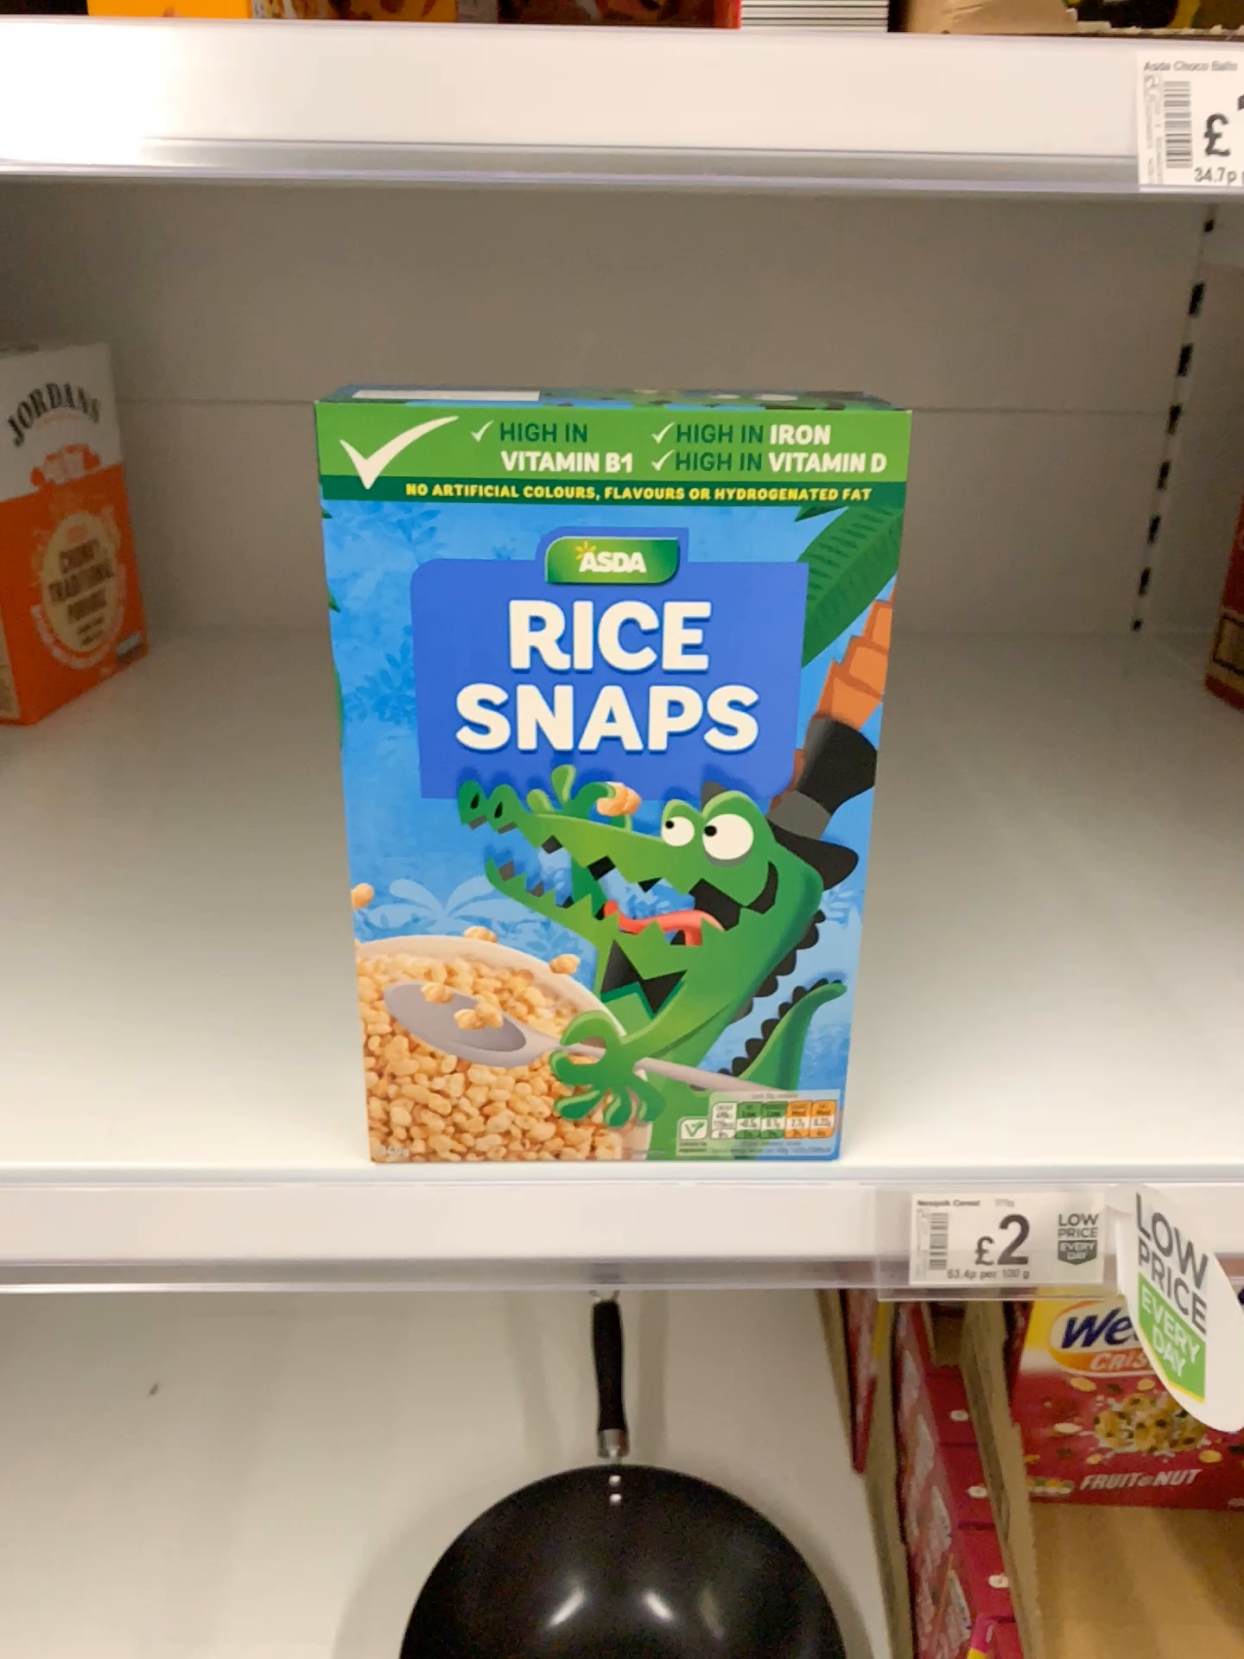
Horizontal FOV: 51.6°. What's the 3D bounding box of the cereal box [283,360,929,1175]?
[{"bbox_3d":[-0.007,-0.014,0.470,0.190,0.288,0.071,0,25,-3],"label":"cereal box"}]
